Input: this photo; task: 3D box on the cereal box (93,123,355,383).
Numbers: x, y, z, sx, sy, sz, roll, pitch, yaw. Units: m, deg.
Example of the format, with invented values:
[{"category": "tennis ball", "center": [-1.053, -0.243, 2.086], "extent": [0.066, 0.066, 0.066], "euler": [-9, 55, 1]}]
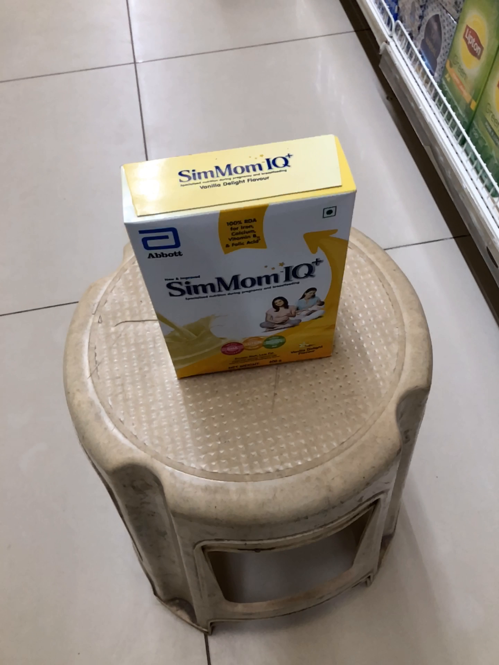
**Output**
[{"category": "cereal box", "center": [-0.012, -0.040, 0.389], "extent": [0.140, 0.199, 0.050], "euler": [-8, 59, -2]}]
